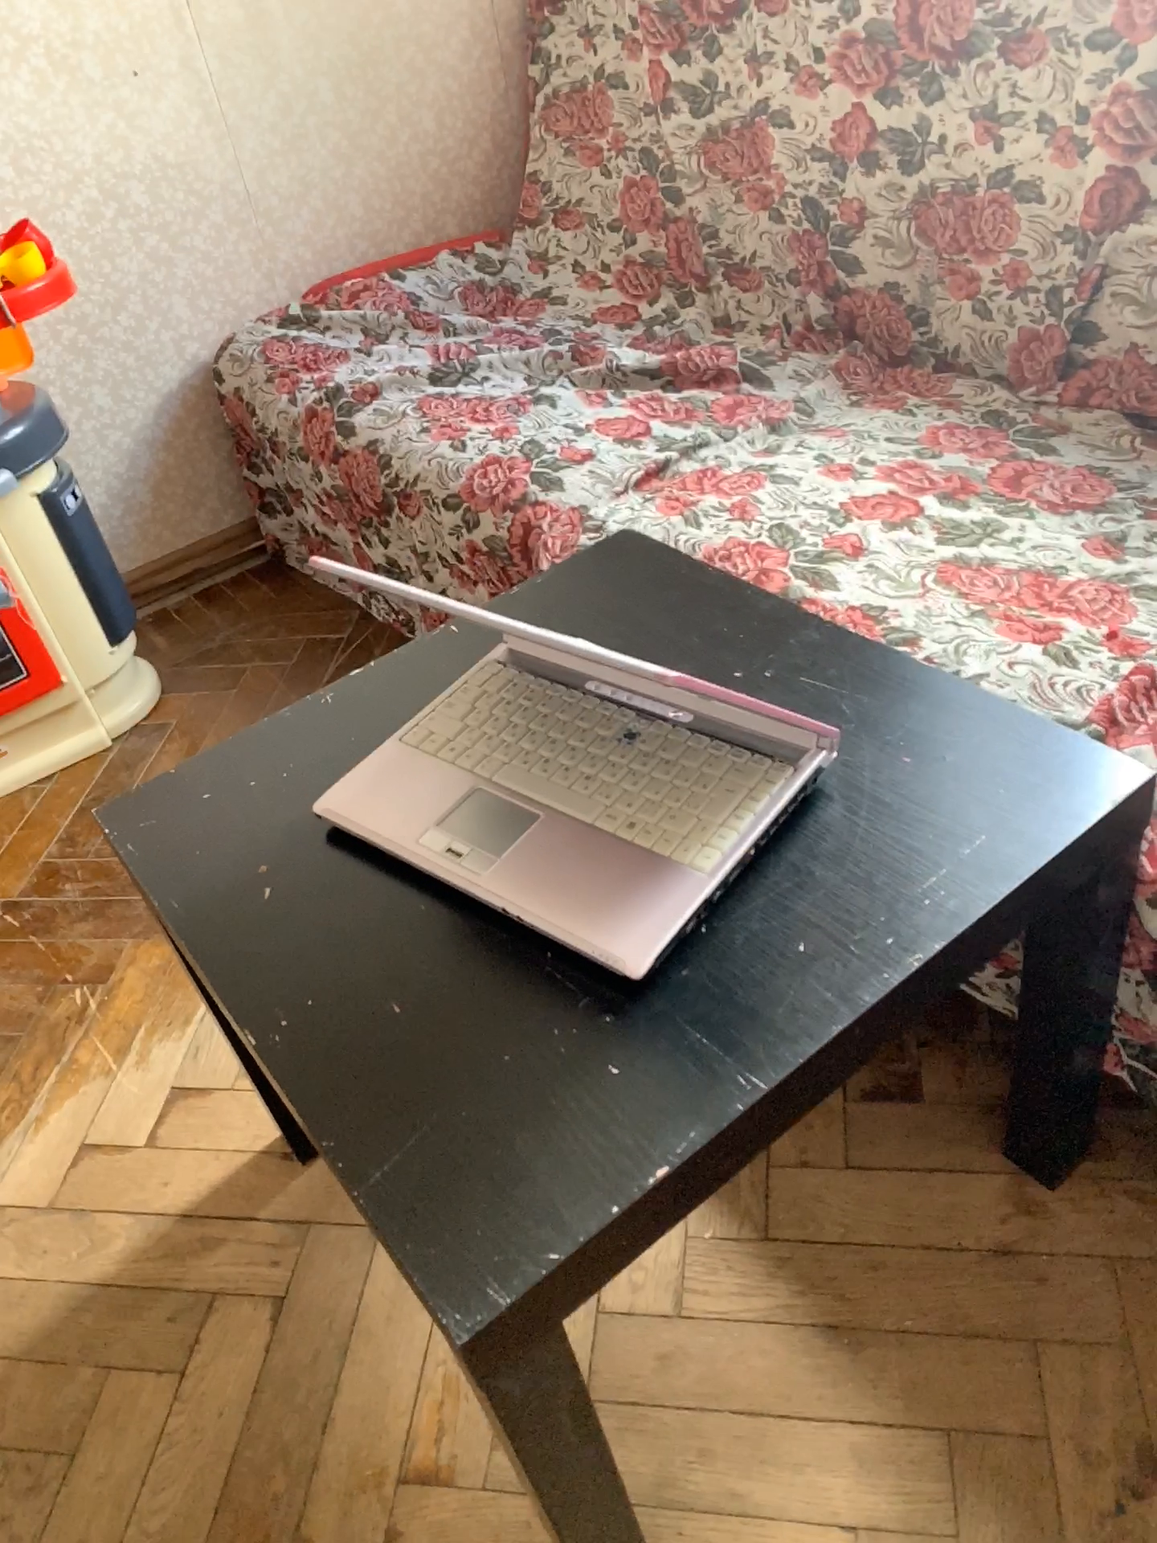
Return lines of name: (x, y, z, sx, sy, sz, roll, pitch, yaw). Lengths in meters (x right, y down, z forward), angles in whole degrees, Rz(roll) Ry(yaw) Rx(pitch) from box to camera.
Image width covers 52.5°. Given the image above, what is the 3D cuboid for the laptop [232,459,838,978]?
laptop: (-0.024, -0.056, 0.769, 0.306, 0.156, 0.226, 22, 51, 35)
